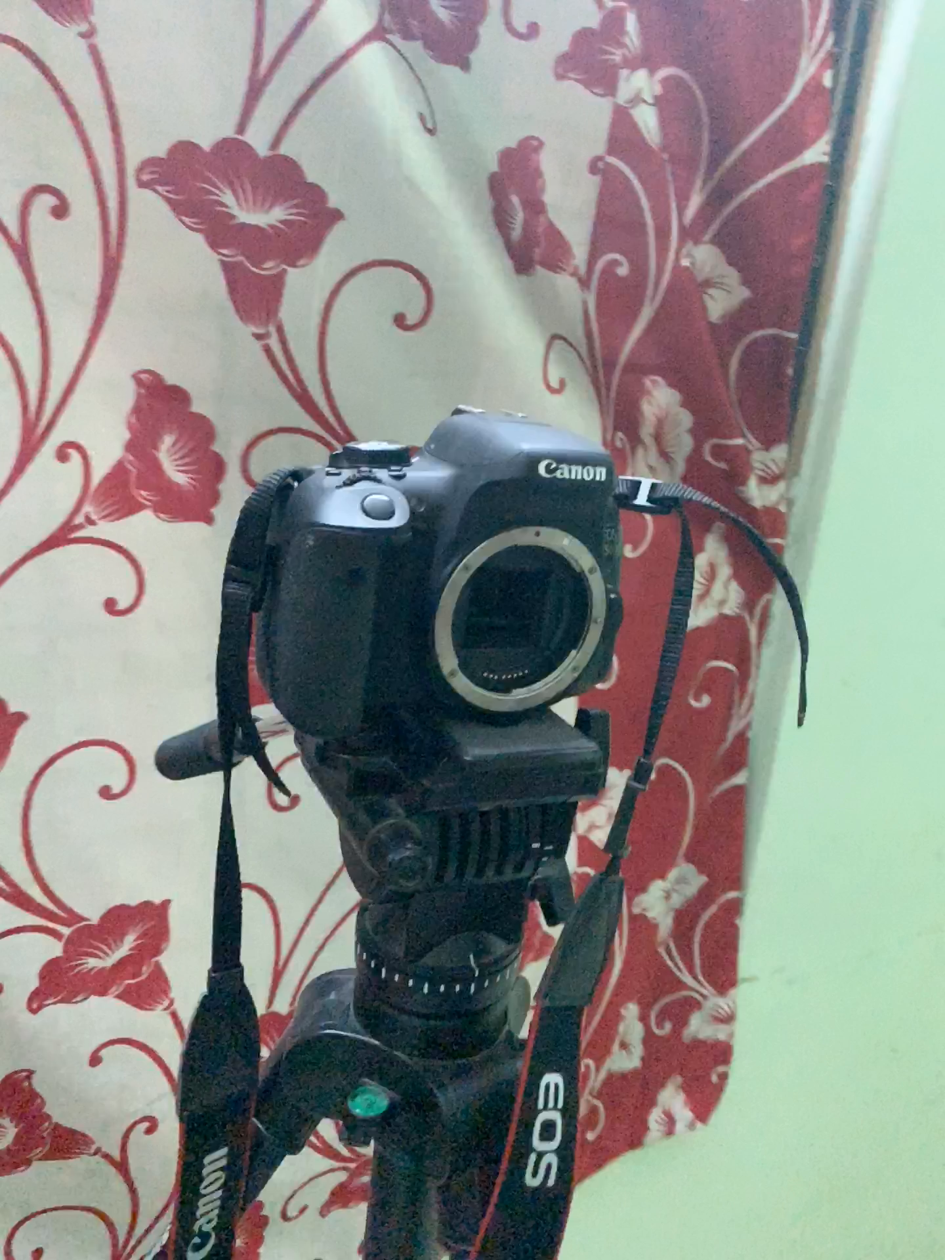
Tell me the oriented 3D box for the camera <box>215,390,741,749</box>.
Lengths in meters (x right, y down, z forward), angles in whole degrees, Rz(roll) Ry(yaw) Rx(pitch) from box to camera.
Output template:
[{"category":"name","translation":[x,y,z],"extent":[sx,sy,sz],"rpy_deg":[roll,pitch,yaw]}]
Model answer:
[{"category":"camera","translation":[-0.002,-0.025,0.320],"extent":[0.142,0.088,0.085],"rpy_deg":[-3,17,-28]}]
